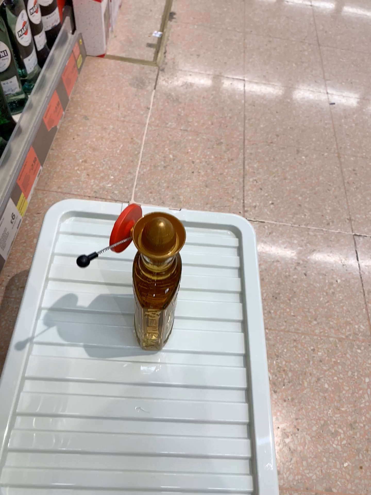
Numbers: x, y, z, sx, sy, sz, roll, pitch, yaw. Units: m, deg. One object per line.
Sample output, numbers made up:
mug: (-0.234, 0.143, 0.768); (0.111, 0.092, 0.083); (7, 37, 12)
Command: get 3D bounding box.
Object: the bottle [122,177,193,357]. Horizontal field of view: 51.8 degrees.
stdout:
bottle: (-0.037, 0.044, 0.458); (0.058, 0.258, 0.101); (5, 58, -4)
